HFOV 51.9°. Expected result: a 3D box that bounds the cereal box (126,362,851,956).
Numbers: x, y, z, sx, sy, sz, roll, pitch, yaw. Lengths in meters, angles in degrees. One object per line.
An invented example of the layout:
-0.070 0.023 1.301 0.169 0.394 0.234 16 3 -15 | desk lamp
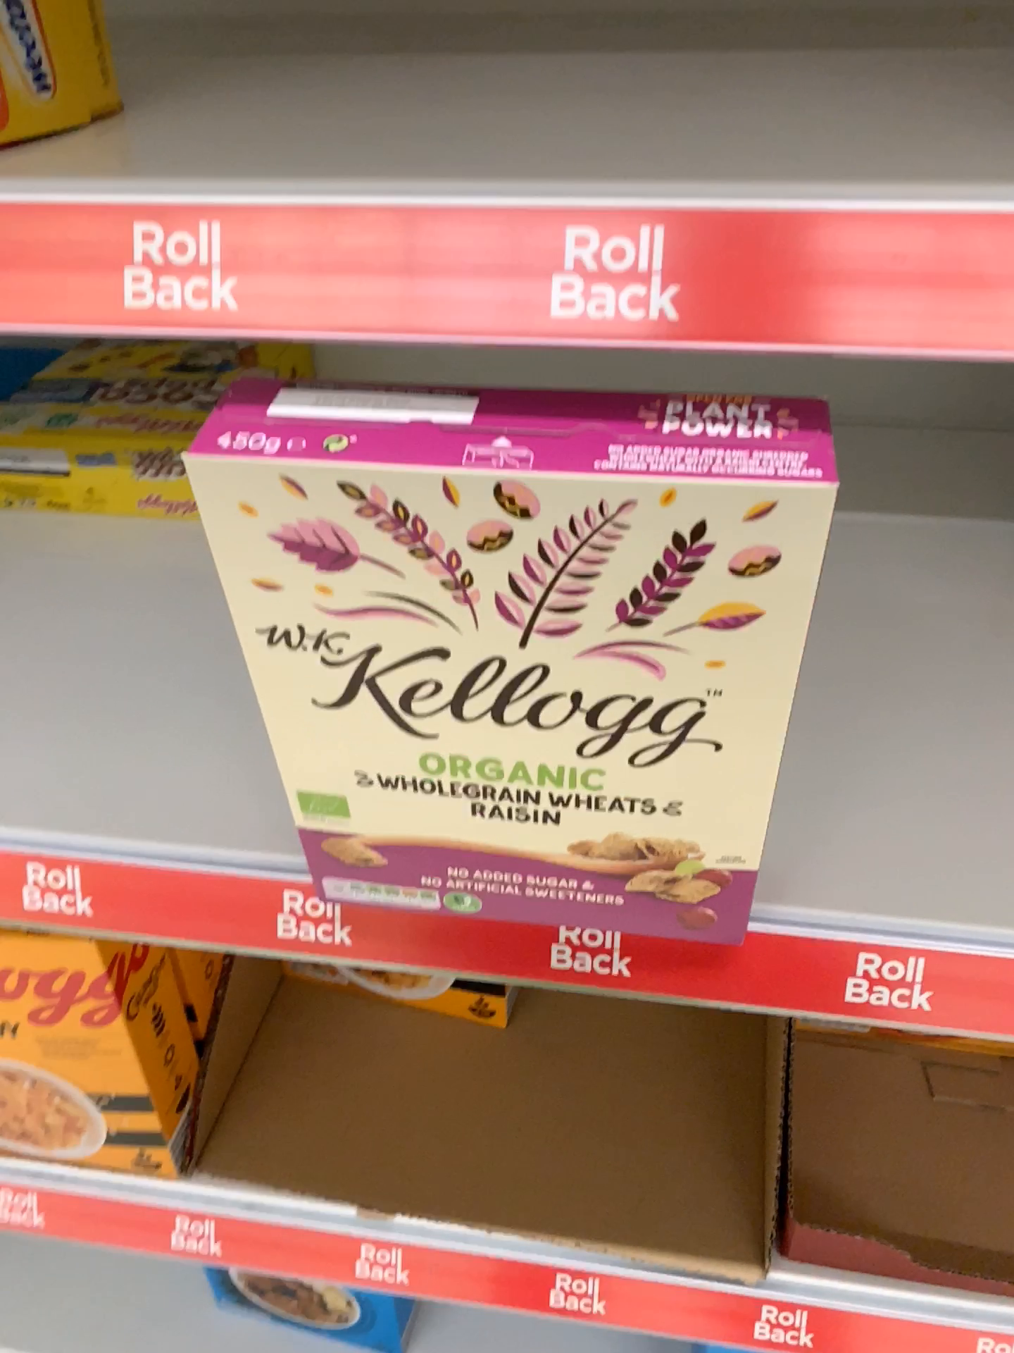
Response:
0.001 0.004 0.377 0.200 0.218 0.061 3 43 9 | cereal box
